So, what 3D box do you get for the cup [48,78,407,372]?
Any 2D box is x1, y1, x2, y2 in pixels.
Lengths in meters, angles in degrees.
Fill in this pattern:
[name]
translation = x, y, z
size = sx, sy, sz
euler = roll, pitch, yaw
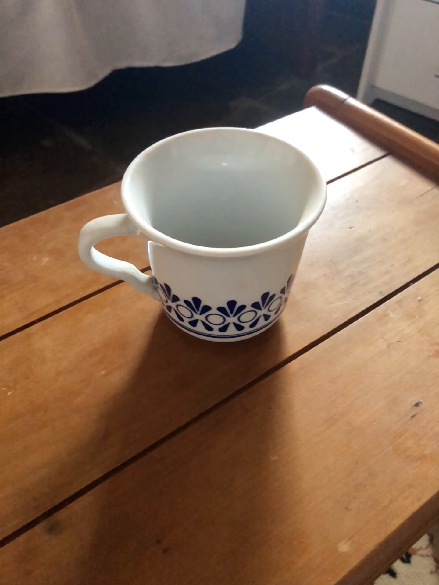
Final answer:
[cup]
translation = -0.004, -0.036, 0.236
size = 0.130, 0.079, 0.101
euler = -8, 49, -8
